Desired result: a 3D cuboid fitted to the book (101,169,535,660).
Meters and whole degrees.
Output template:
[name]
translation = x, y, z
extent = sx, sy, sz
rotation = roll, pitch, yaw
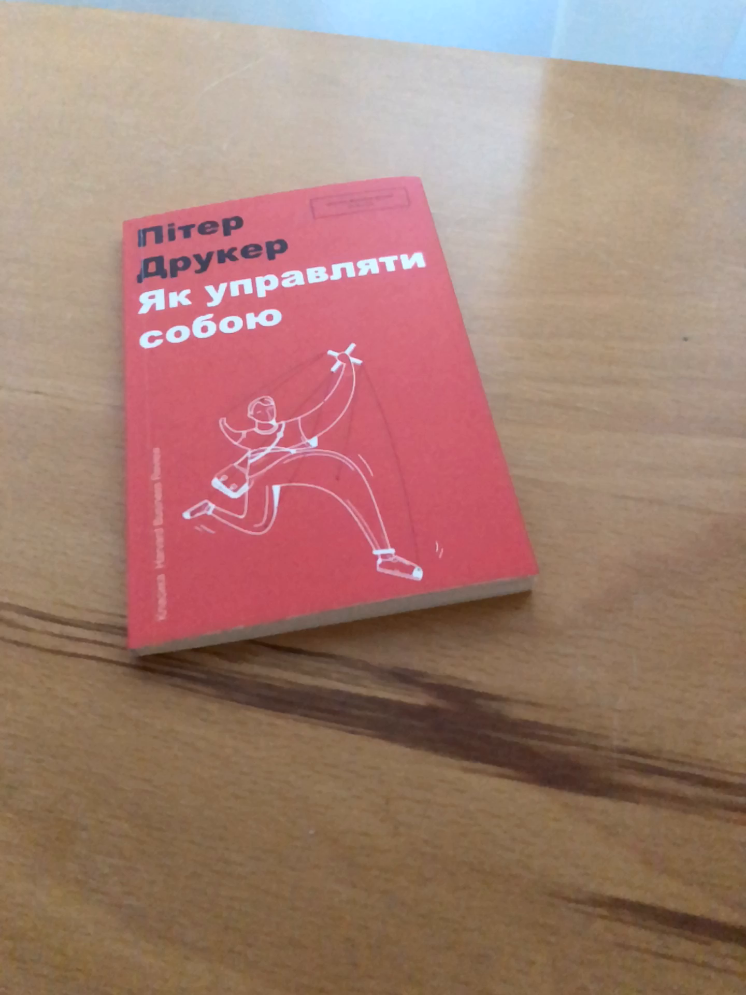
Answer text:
[book]
translation = -0.026, -0.038, 0.258
extent = 0.111, 0.013, 0.164
rotation = -9, 58, -2
